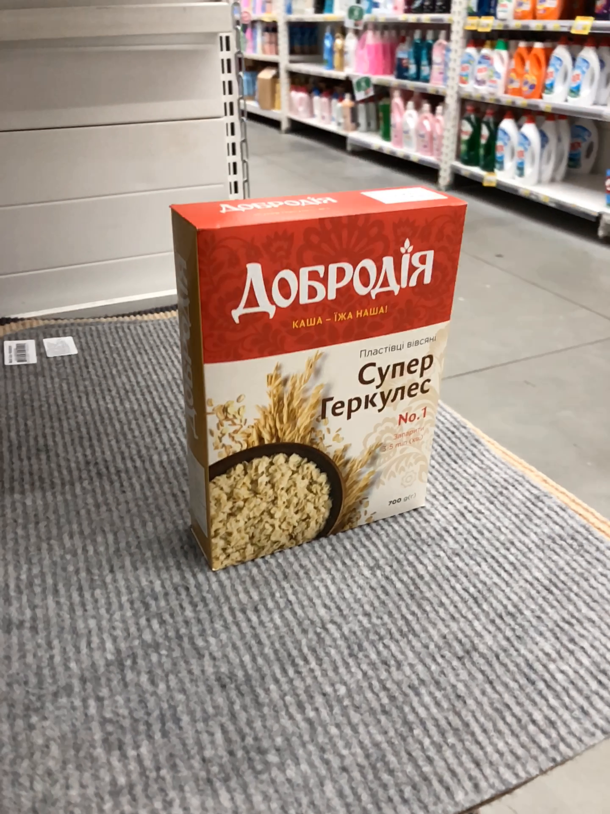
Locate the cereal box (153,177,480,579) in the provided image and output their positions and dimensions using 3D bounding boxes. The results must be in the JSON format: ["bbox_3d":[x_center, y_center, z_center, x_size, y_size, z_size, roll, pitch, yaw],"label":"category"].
[{"bbox_3d":[0.007,-0.020,0.441,0.180,0.228,0.060,-13,32,-23],"label":"cereal box"}]
